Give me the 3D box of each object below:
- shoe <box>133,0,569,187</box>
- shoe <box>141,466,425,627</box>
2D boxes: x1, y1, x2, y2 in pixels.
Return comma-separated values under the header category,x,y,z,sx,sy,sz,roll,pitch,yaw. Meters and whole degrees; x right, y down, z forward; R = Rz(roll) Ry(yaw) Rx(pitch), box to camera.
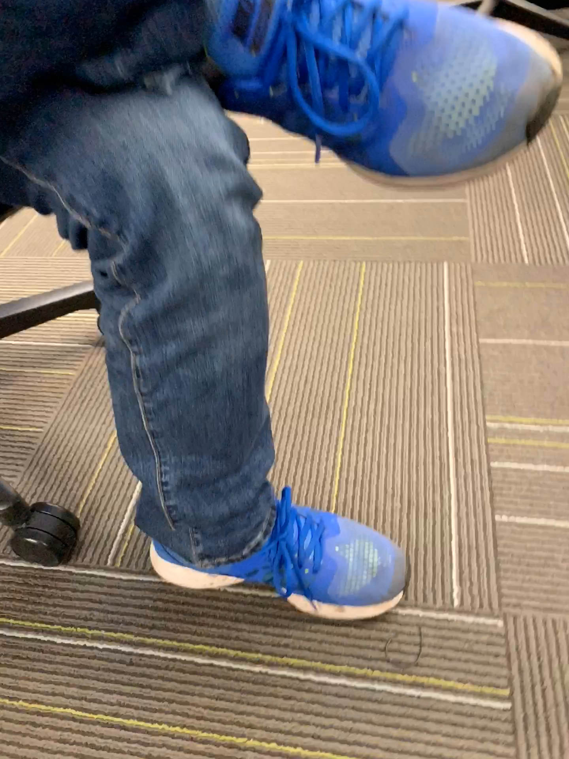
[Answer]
category,x,y,z,sx,sy,sz,roll,pitch,yaw
shoe,0.042,-0.208,0.365,0.276,0.117,0.103,23,28,28
shoe,0.003,0.178,0.641,0.284,0.086,0.101,5,46,13
